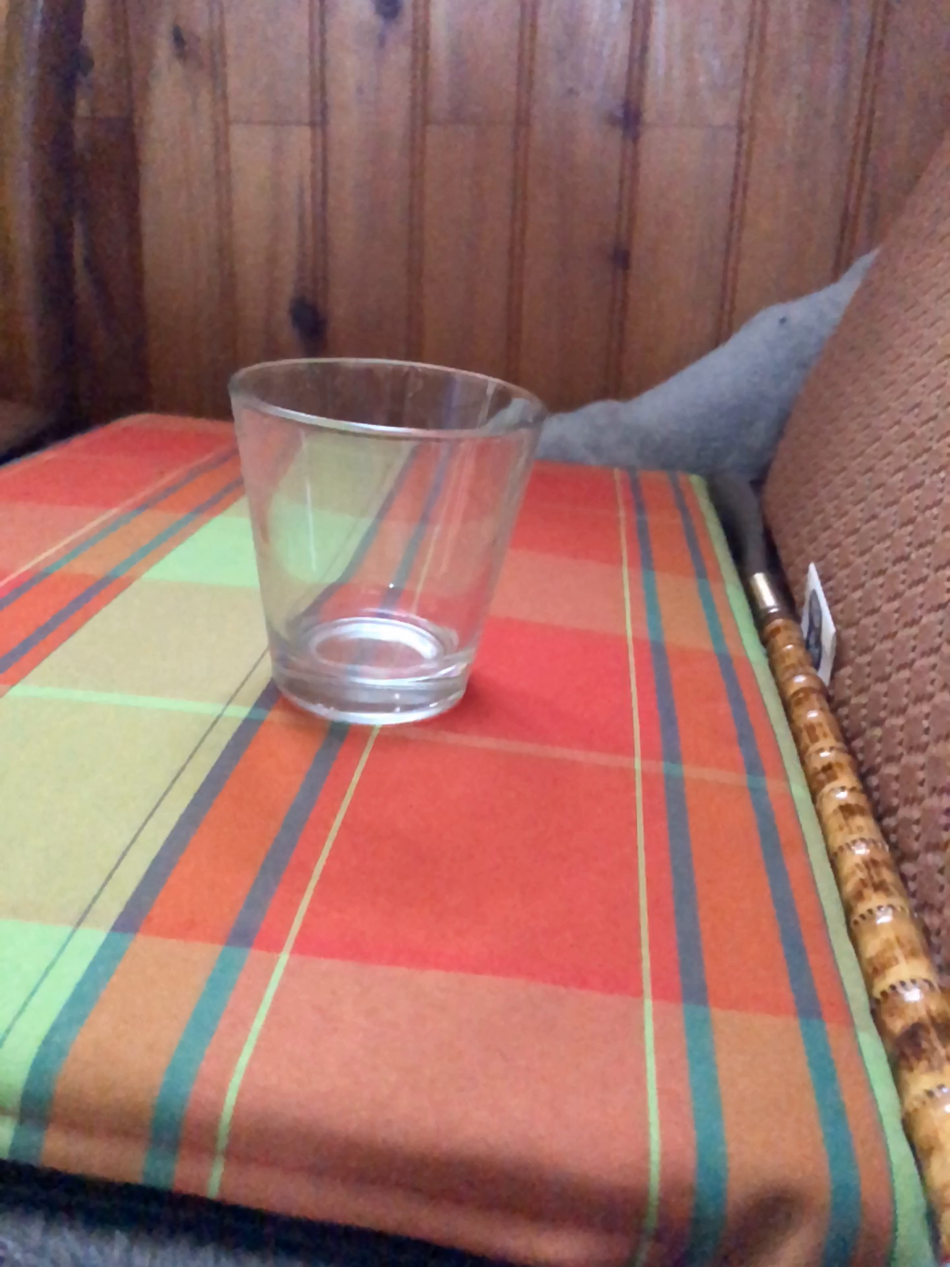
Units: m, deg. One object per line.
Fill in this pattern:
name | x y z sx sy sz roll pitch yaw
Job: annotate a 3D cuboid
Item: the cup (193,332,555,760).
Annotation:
cup | -0.025 -0.029 0.297 0.080 0.090 0.080 5 23 -2
